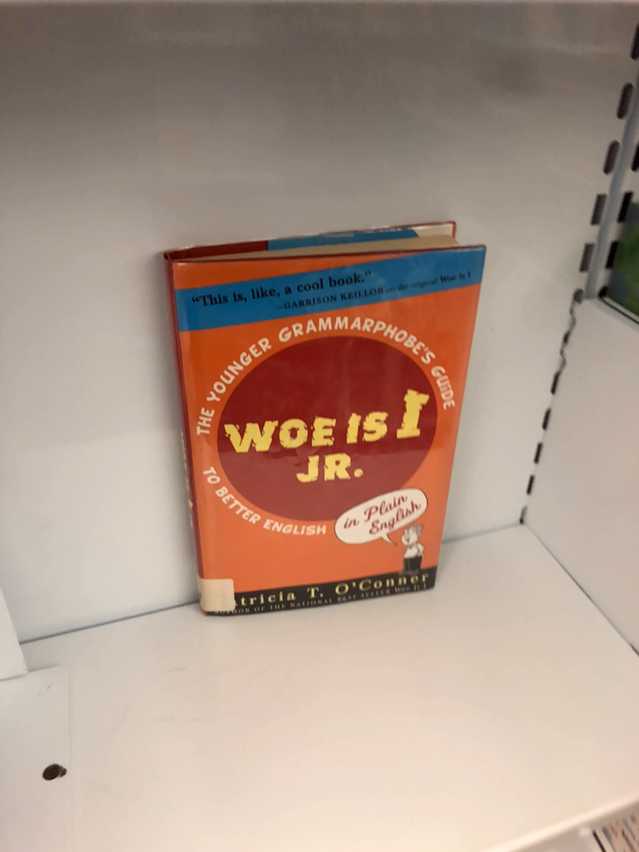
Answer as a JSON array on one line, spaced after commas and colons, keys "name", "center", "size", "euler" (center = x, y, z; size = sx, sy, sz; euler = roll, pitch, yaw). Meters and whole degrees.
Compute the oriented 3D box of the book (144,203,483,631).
[{"name": "book", "center": [-0.002, 0.001, 0.350], "size": [0.137, 0.199, 0.038], "euler": [-10, 33, -16]}]
